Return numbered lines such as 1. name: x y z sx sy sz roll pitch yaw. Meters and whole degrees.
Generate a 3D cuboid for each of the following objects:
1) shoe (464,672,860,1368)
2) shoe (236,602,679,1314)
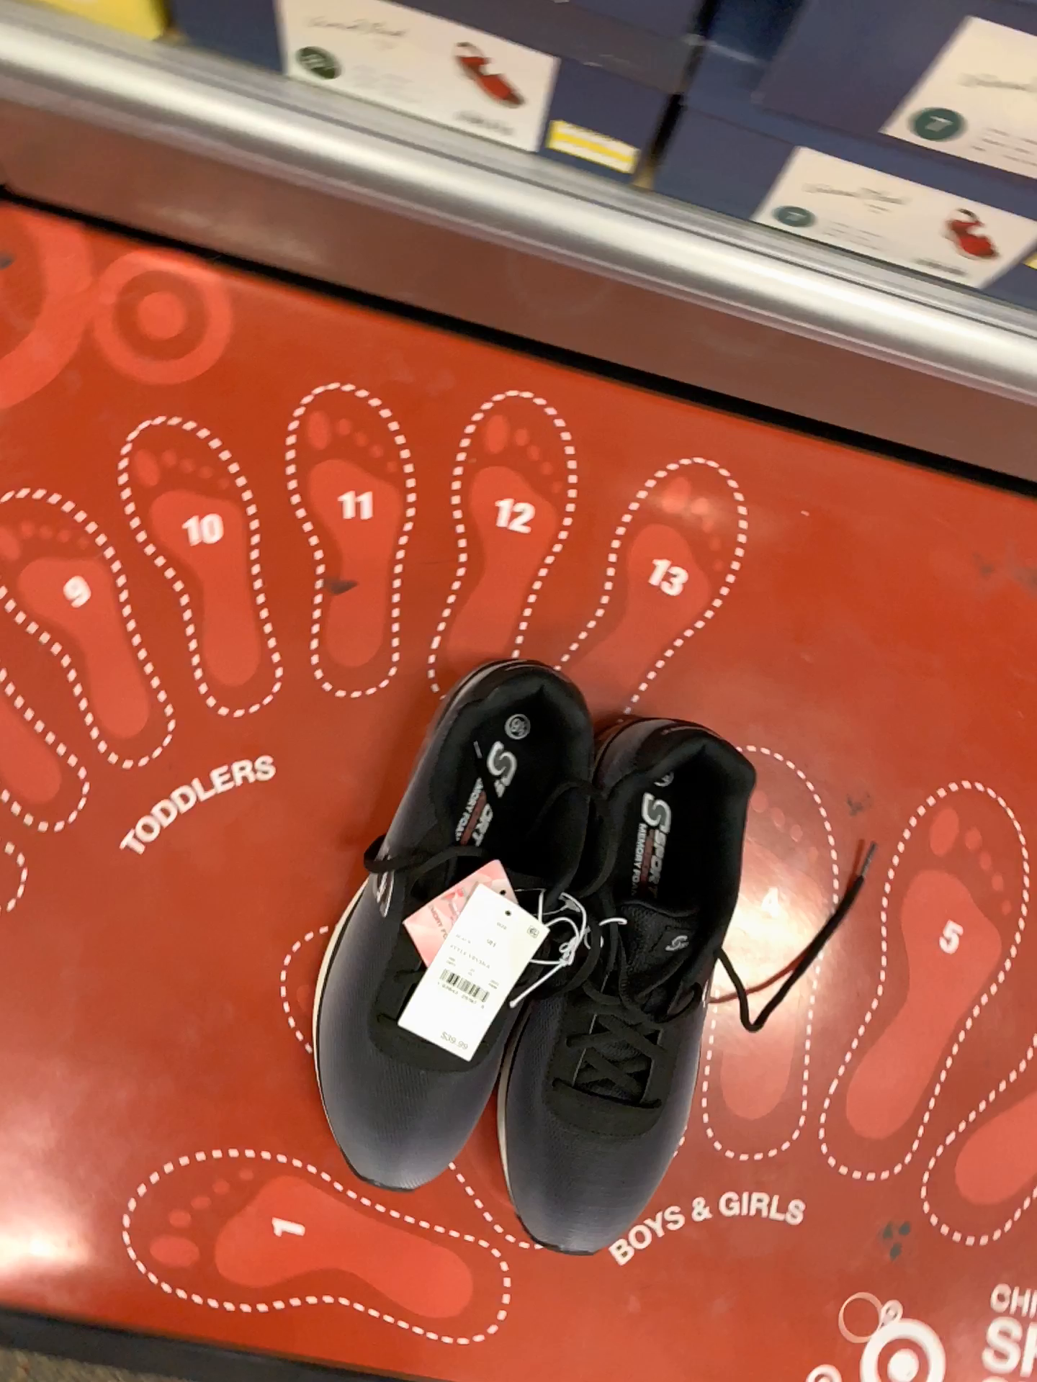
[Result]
1. shoe: 0.059 0.134 0.479 0.100 0.100 0.260 14 84 -6
2. shoe: -0.026 0.107 0.472 0.100 0.100 0.260 18 83 -5
